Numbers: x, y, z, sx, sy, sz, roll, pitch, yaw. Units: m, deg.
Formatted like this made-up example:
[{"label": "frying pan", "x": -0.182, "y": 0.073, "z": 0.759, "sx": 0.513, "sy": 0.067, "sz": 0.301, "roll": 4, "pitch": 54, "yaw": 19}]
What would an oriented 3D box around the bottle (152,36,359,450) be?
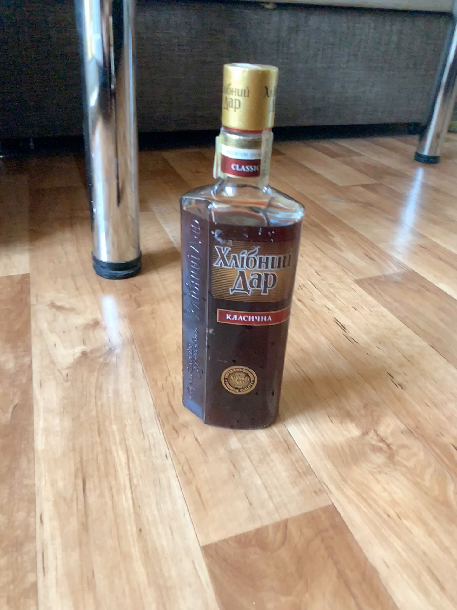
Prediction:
[{"label": "bottle", "x": 0.011, "y": -0.025, "z": 0.287, "sx": 0.090, "sy": 0.239, "sz": 0.050, "roll": 11, "pitch": 32, "yaw": 14}]
